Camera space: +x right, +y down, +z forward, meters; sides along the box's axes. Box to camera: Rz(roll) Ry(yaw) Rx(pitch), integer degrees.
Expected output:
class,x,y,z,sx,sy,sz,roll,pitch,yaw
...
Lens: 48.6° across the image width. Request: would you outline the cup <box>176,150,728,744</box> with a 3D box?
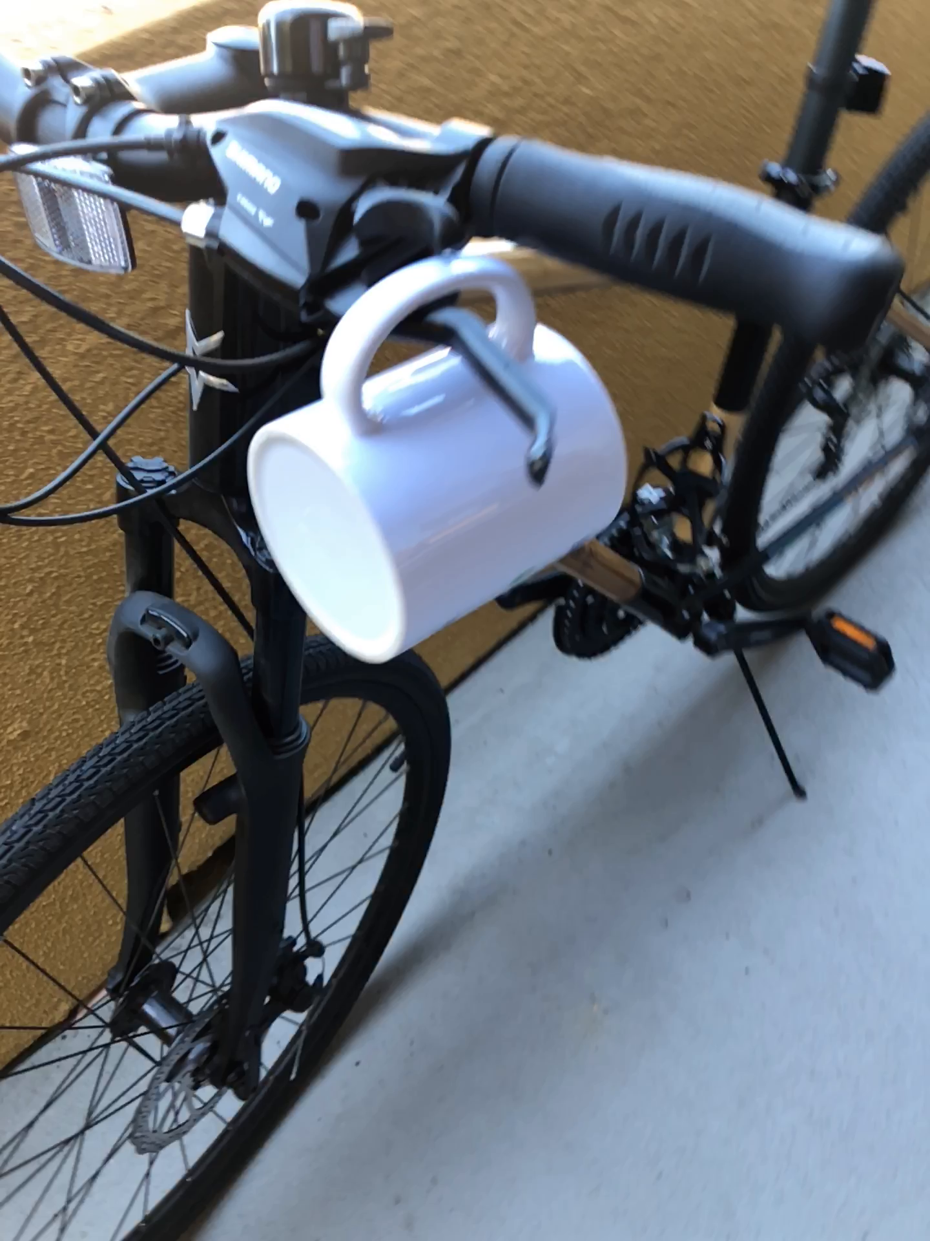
class,x,y,z,sx,sy,sz,roll,pitch,yaw
cup,-0.003,-0.055,0.325,0.120,0.119,0.090,-29,55,-22
